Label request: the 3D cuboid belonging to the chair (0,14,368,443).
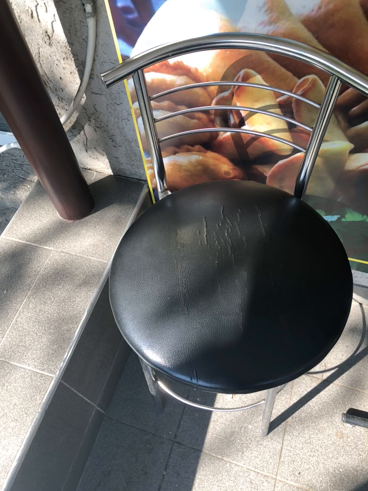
[{"bbox_3d":[0.102,0.129,1.013,0.510,1.097,0.501,0,57,6],"label":"chair"}]
